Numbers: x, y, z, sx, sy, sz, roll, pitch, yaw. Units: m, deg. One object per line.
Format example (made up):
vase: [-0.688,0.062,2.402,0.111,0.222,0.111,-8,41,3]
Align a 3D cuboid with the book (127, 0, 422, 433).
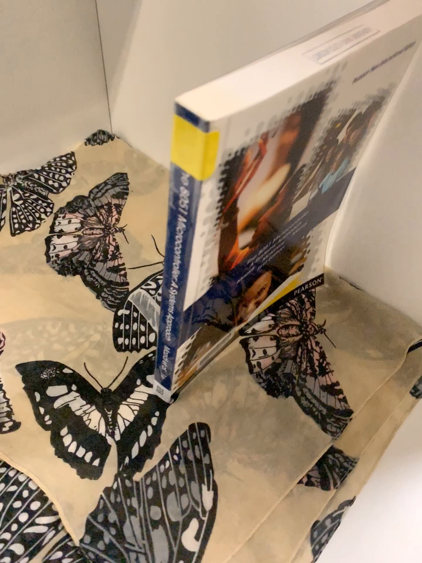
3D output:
book: [0.046,-0.036,0.294,0.053,0.249,0.220,38,57,18]
